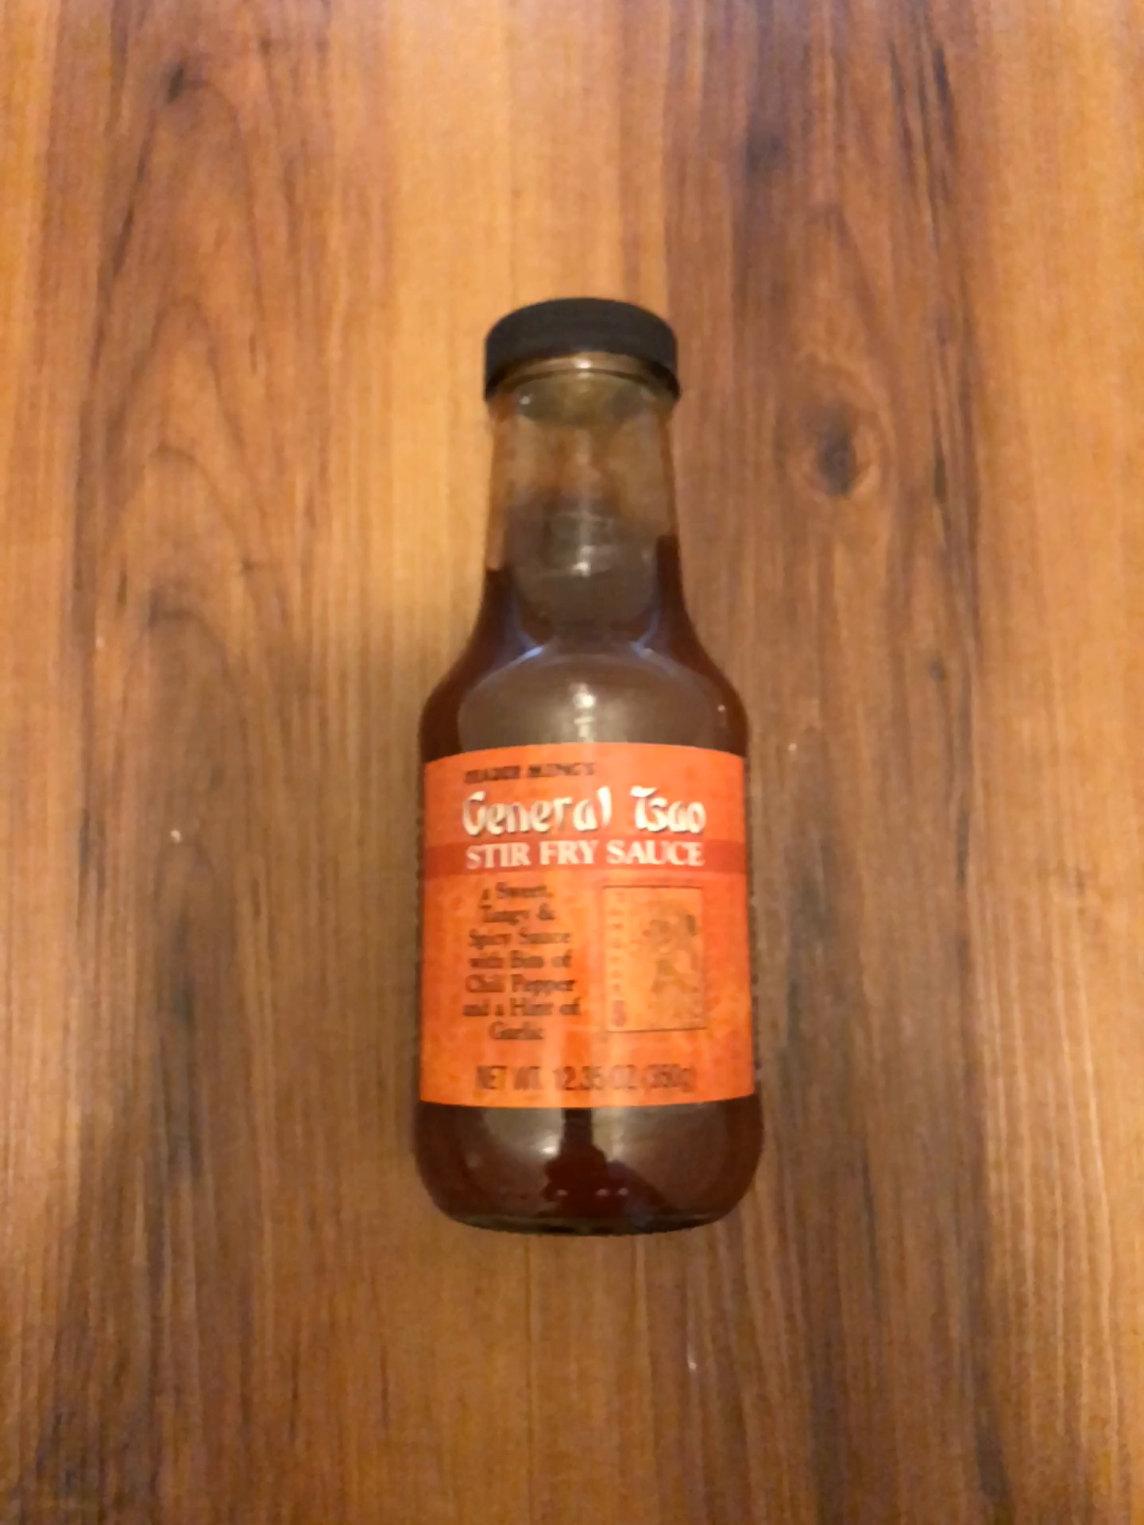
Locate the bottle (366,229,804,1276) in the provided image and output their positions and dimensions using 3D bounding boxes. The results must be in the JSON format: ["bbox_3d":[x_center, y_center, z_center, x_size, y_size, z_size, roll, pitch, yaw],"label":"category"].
[{"bbox_3d":[0.002,-0.003,0.248,0.068,0.060,0.180,-1,79,1],"label":"bottle"}]
